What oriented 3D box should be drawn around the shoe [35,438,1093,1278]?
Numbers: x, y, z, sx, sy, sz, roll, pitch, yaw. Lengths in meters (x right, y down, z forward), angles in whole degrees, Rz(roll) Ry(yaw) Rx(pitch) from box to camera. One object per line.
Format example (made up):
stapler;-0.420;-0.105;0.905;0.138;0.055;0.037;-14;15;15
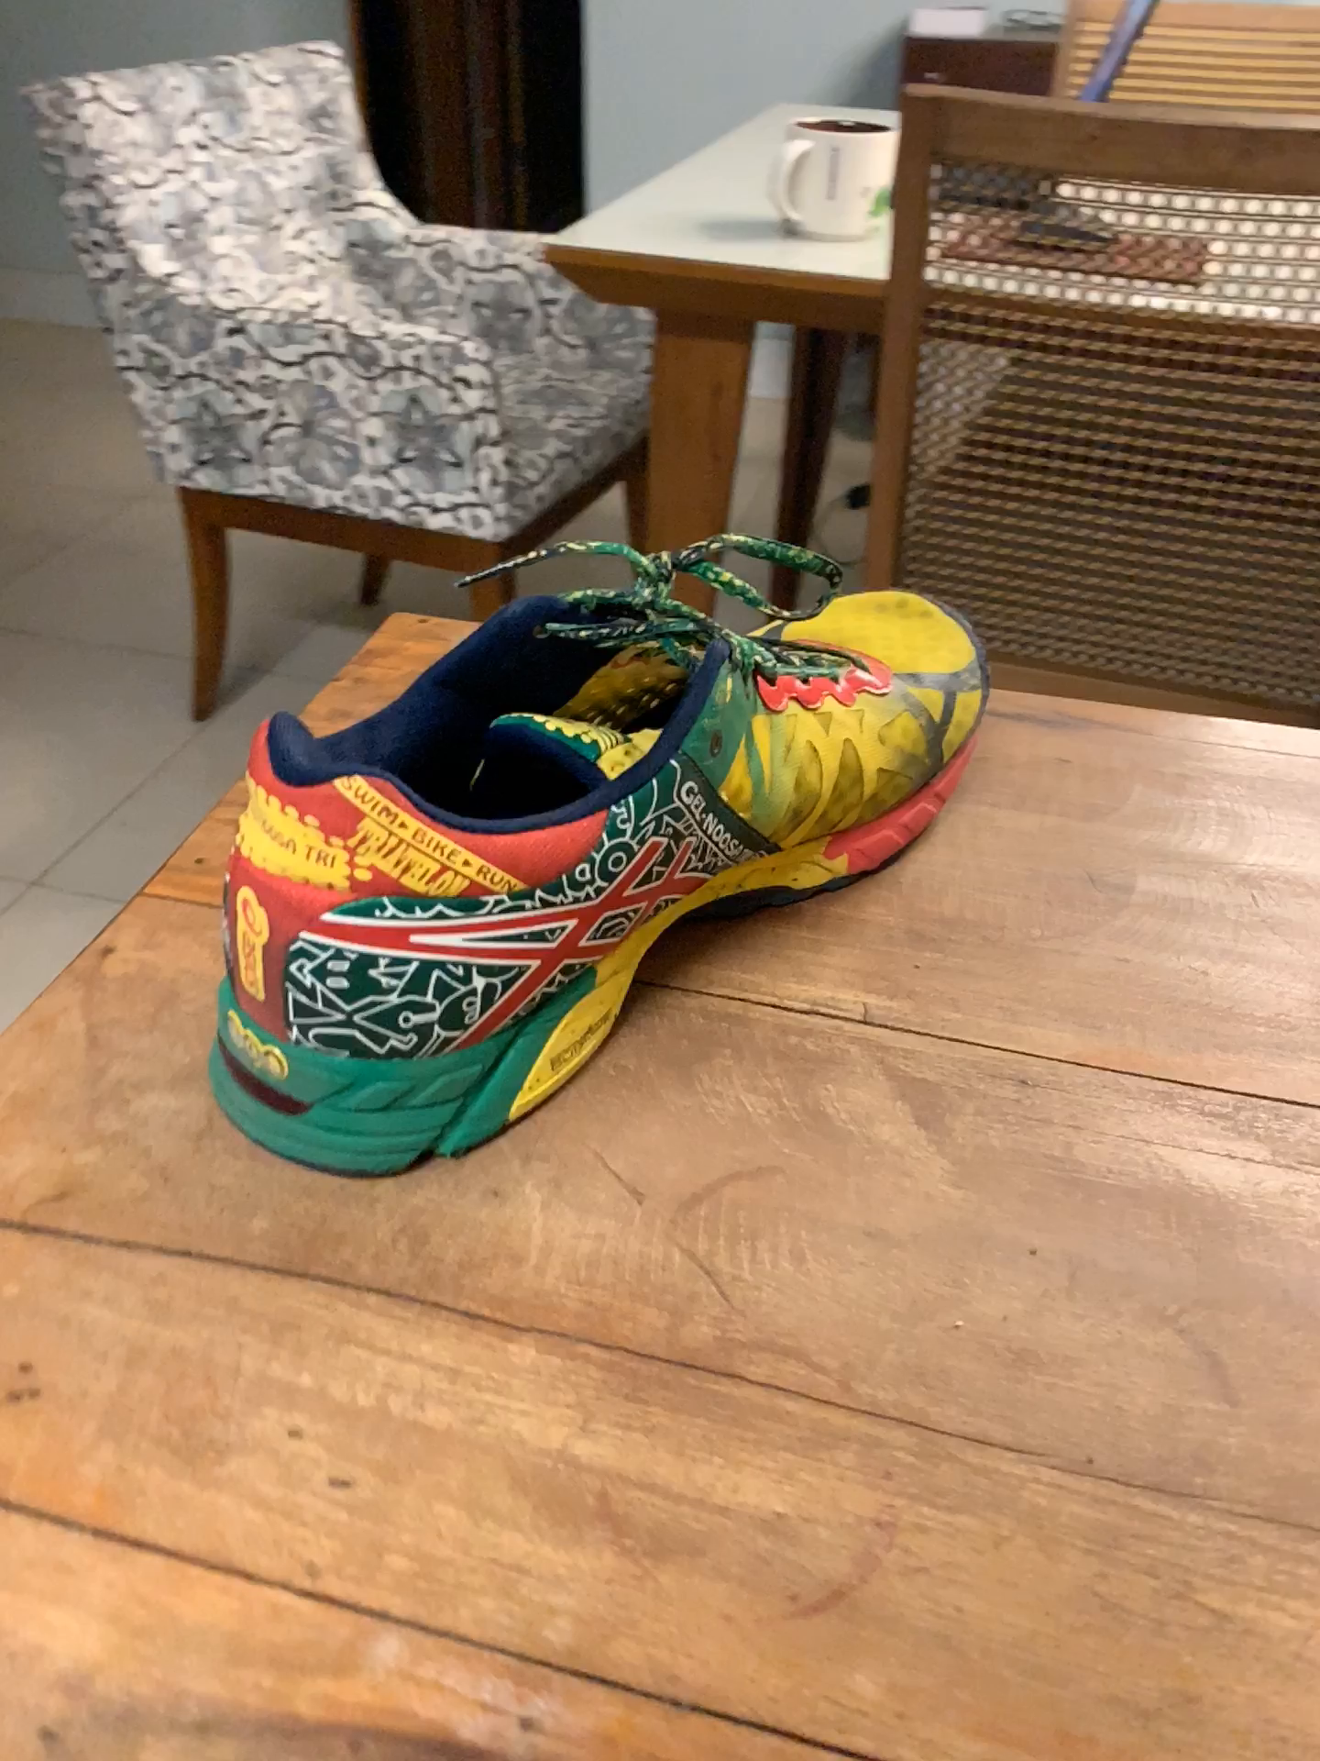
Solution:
shoe;-0.006;-0.034;0.407;0.113;0.102;0.295;31;46;33
